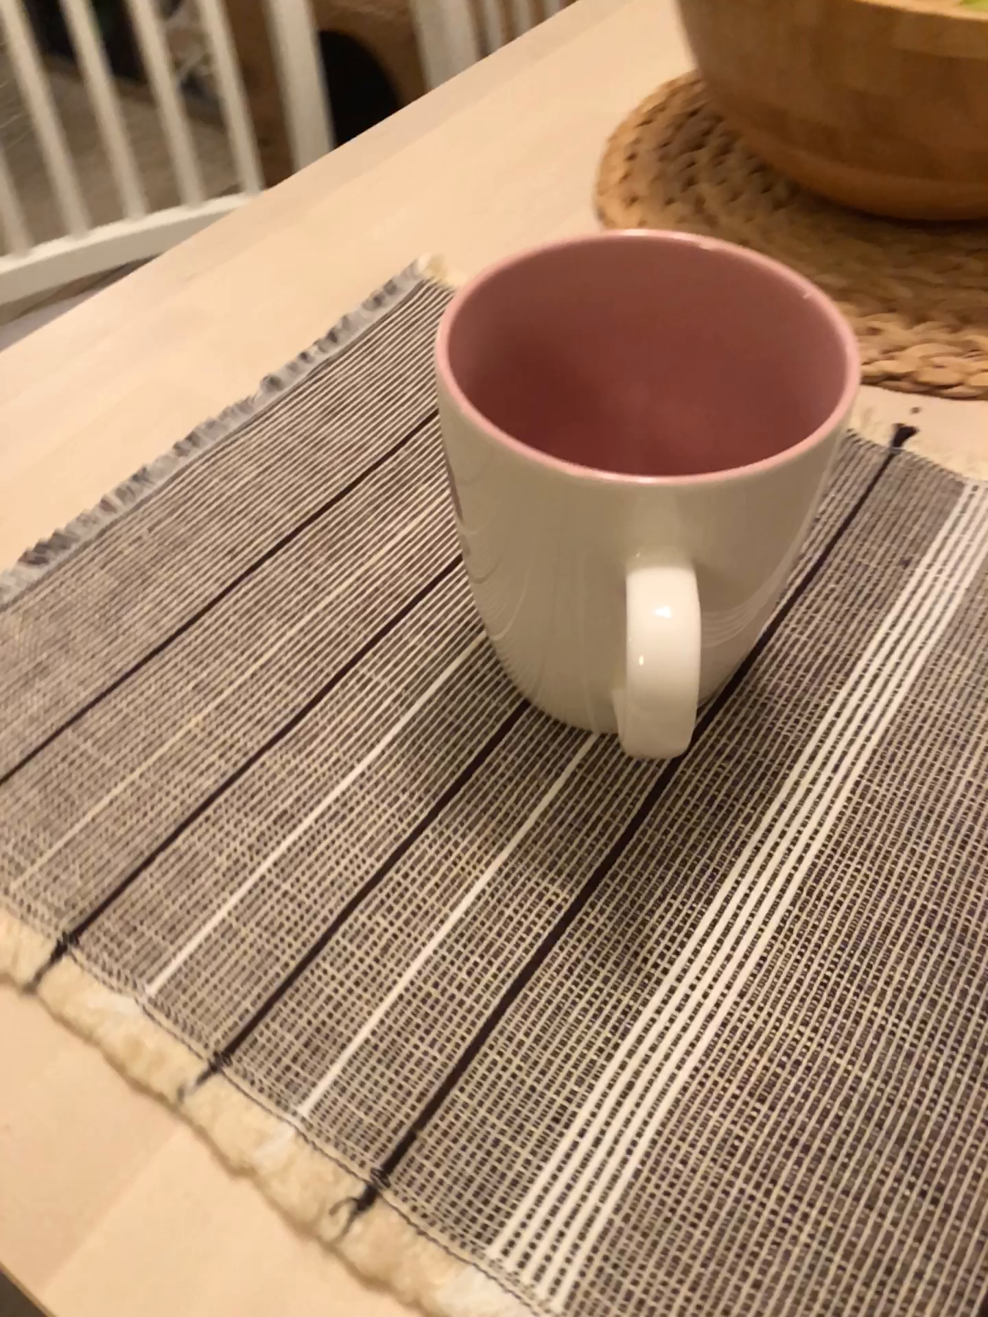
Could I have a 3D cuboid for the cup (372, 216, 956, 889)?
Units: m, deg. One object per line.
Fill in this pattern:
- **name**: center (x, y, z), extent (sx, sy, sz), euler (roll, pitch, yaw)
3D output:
- **cup**: center (0.036, -0.033, 0.322), extent (0.120, 0.119, 0.161), euler (0, 49, 1)
